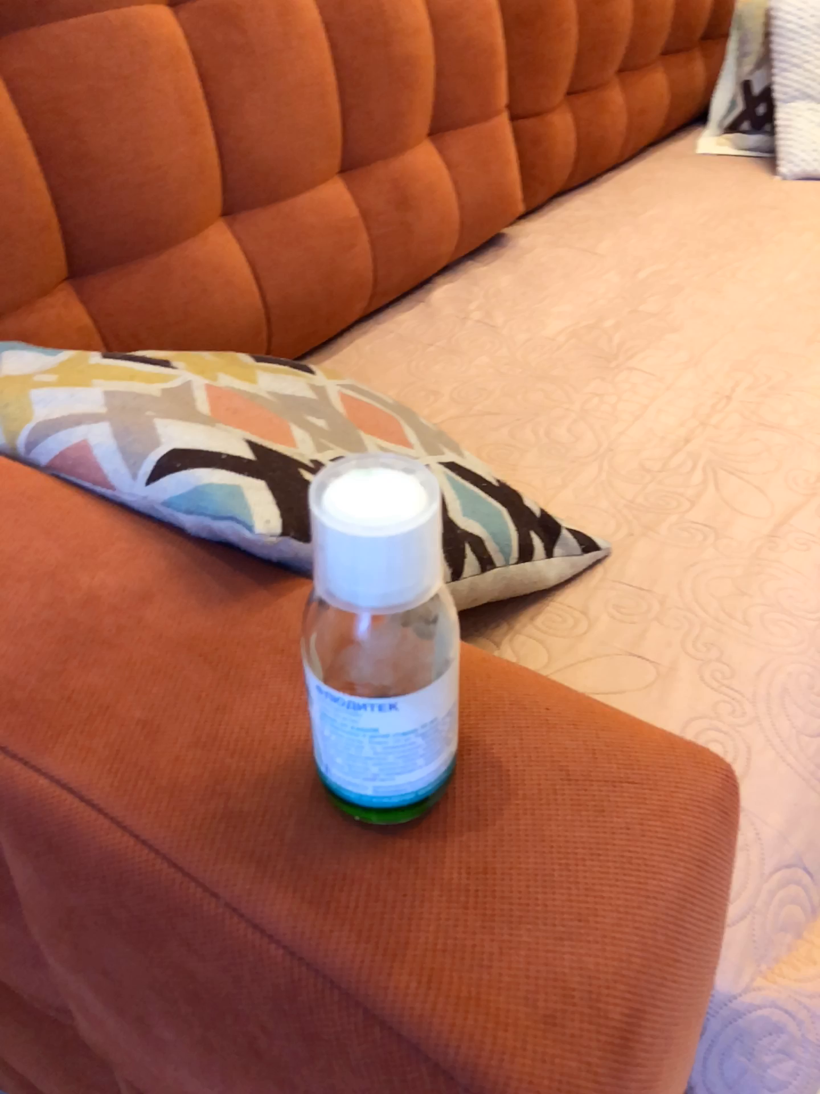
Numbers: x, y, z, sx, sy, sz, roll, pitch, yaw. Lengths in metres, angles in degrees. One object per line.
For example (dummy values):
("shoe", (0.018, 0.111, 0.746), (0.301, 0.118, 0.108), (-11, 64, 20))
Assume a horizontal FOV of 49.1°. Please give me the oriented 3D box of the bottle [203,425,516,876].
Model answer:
("bottle", (-0.010, 0.030, 0.270), (0.060, 0.106, 0.060), (-1, 35, 1))
